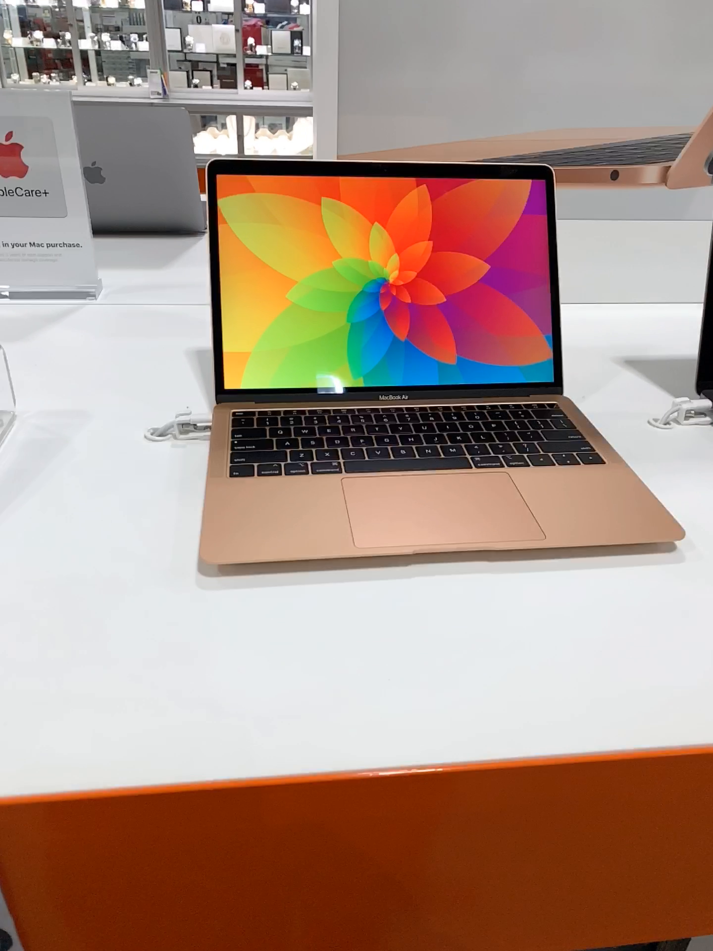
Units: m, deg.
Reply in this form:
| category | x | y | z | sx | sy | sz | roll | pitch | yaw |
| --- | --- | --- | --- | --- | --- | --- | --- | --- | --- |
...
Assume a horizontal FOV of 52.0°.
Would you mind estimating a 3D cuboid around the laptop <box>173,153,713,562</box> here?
| category | x | y | z | sx | sy | sz | roll | pitch | yaw |
| --- | --- | --- | --- | --- | --- | --- | --- | --- | --- |
| laptop | 0.039 | -0.112 | 0.525 | 0.293 | 0.170 | 0.311 | -2 | 31 | -8 |
